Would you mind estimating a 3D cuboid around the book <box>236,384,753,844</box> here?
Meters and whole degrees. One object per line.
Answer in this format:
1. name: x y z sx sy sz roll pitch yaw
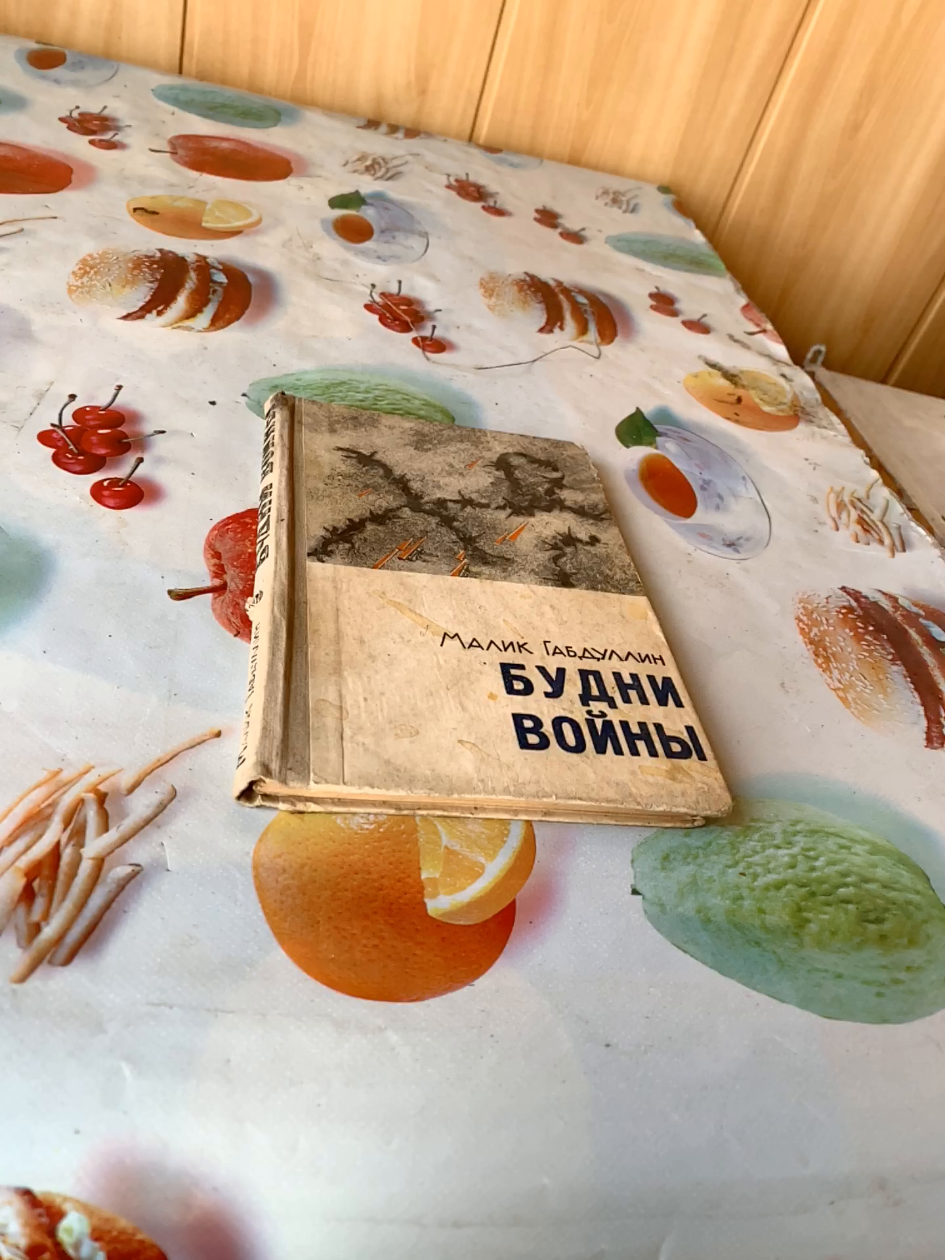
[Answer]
1. book: -0.003 -0.017 0.327 0.136 0.018 0.197 7 39 -15
